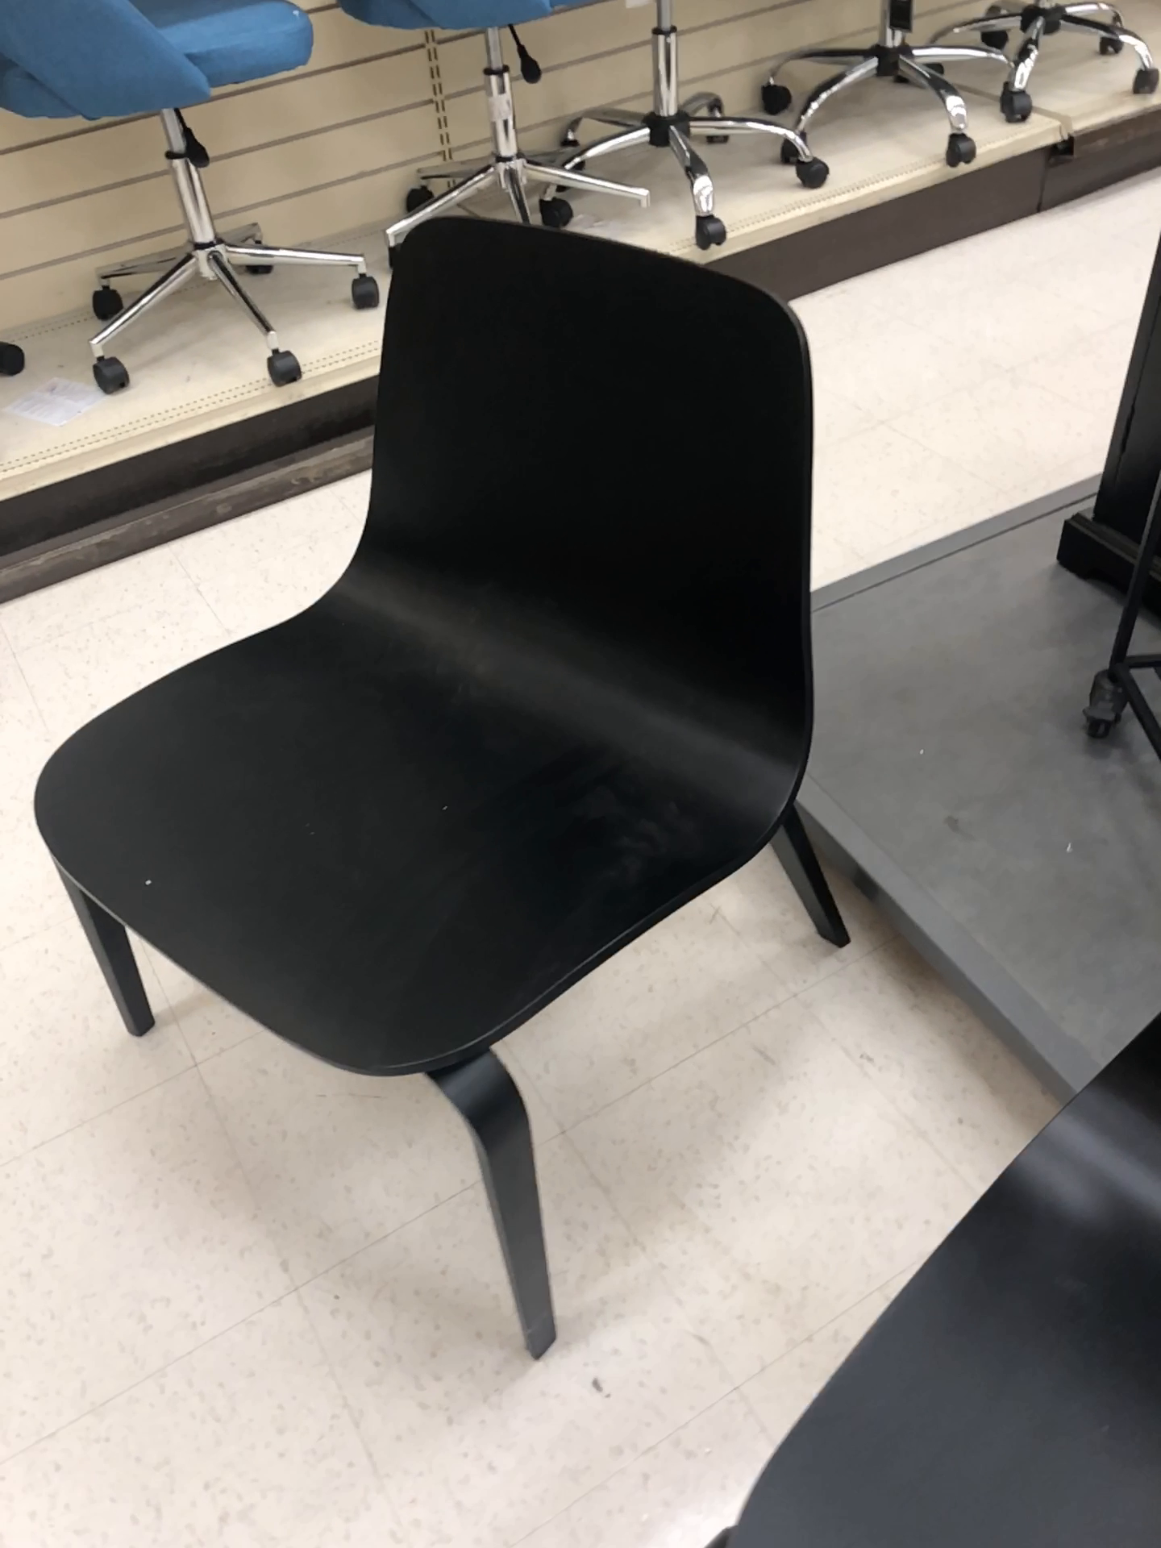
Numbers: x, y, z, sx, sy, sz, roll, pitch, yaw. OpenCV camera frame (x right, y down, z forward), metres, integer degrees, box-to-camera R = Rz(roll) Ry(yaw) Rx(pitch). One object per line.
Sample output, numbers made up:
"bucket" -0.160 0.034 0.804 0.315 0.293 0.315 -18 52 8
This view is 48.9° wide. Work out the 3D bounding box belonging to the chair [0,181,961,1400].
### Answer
"chair" -0.136 -0.024 1.187 0.642 0.717 0.631 27 53 31
